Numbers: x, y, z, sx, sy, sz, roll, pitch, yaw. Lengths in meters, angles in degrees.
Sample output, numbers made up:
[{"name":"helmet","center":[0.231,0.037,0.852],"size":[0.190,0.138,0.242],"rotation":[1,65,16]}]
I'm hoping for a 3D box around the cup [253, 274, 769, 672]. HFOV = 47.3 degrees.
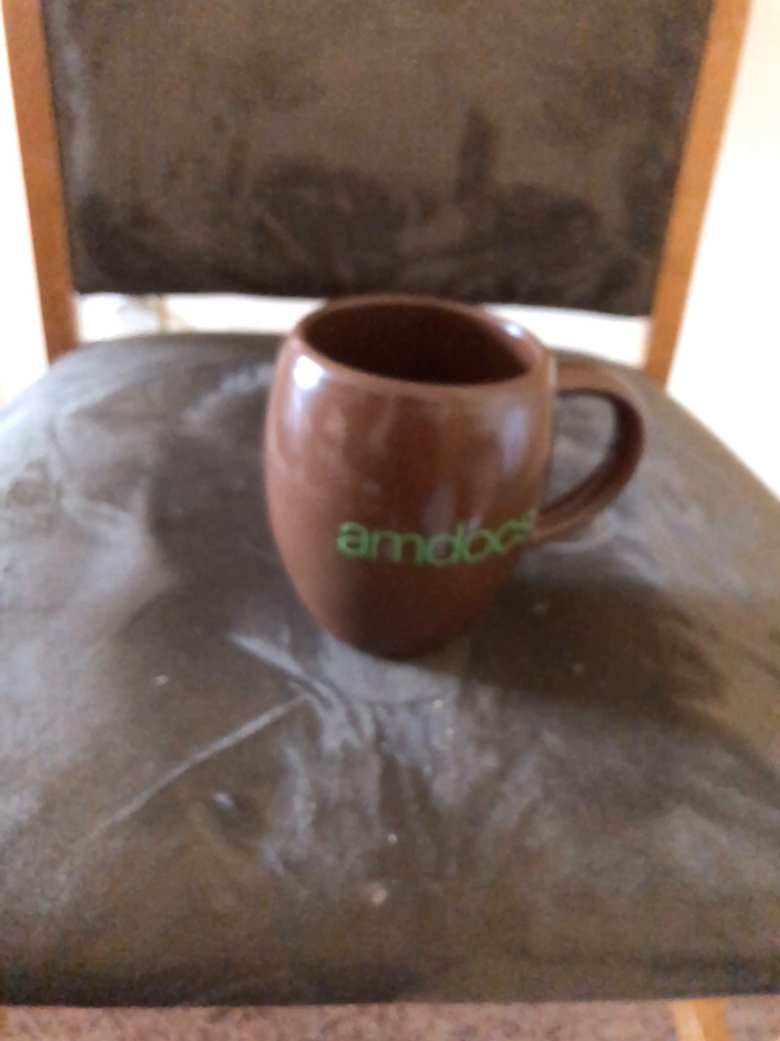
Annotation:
[{"name":"cup","center":[0.030,-0.016,0.313],"size":[0.140,0.100,0.090],"rotation":[2,32,-15]}]
